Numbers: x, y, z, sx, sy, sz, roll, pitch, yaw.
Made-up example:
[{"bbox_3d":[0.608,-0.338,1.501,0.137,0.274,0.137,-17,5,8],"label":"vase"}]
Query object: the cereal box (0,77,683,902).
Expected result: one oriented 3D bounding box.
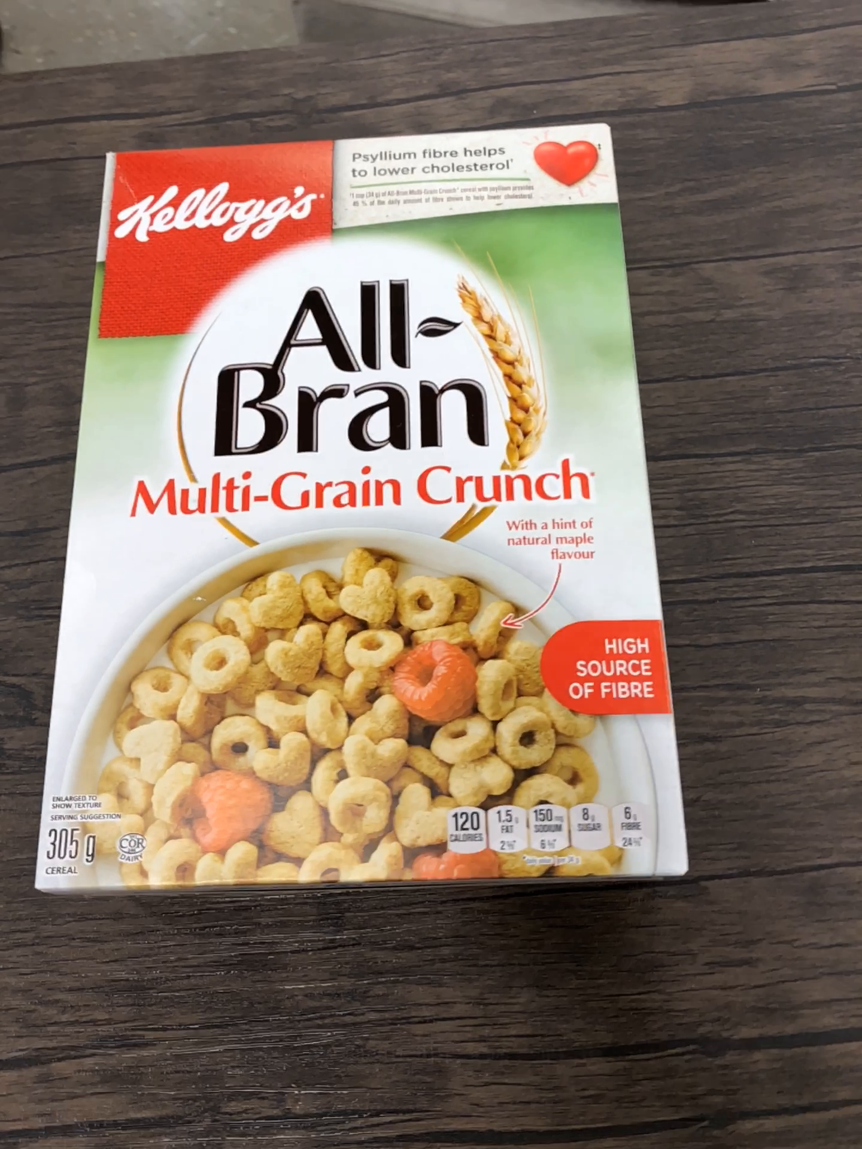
[{"bbox_3d":[-0.034,-0.038,0.361,0.210,0.070,0.300,-2,70,3],"label":"cereal box"}]
